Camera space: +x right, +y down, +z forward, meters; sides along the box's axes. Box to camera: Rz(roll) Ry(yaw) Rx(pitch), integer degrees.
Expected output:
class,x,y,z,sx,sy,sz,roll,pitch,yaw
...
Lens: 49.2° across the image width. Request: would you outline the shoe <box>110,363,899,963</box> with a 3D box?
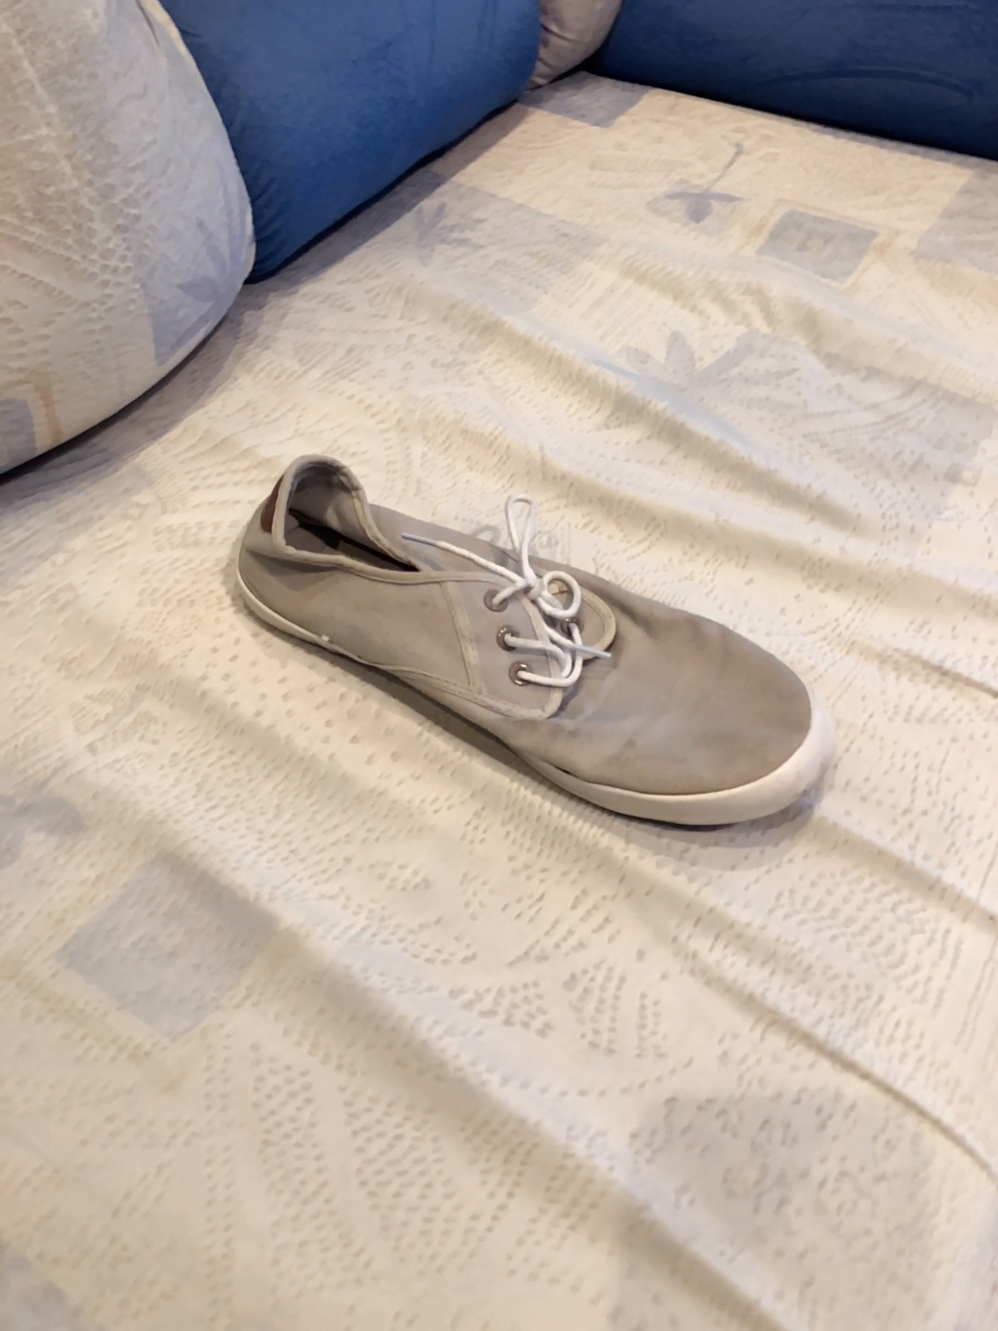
class,x,y,z,sx,sy,sz,roll,pitch,yaw
shoe,-0.004,-0.014,0.427,0.270,0.080,0.111,26,55,20
